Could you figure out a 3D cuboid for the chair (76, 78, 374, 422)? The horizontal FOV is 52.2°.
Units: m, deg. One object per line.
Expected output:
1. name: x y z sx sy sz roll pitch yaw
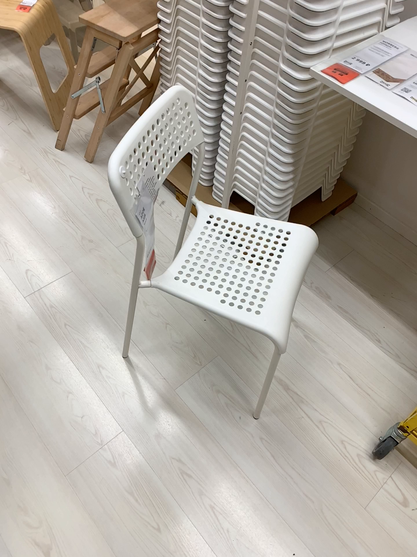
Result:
1. chair: 0.033 -0.026 1.169 0.500 0.746 0.425 20 53 9
